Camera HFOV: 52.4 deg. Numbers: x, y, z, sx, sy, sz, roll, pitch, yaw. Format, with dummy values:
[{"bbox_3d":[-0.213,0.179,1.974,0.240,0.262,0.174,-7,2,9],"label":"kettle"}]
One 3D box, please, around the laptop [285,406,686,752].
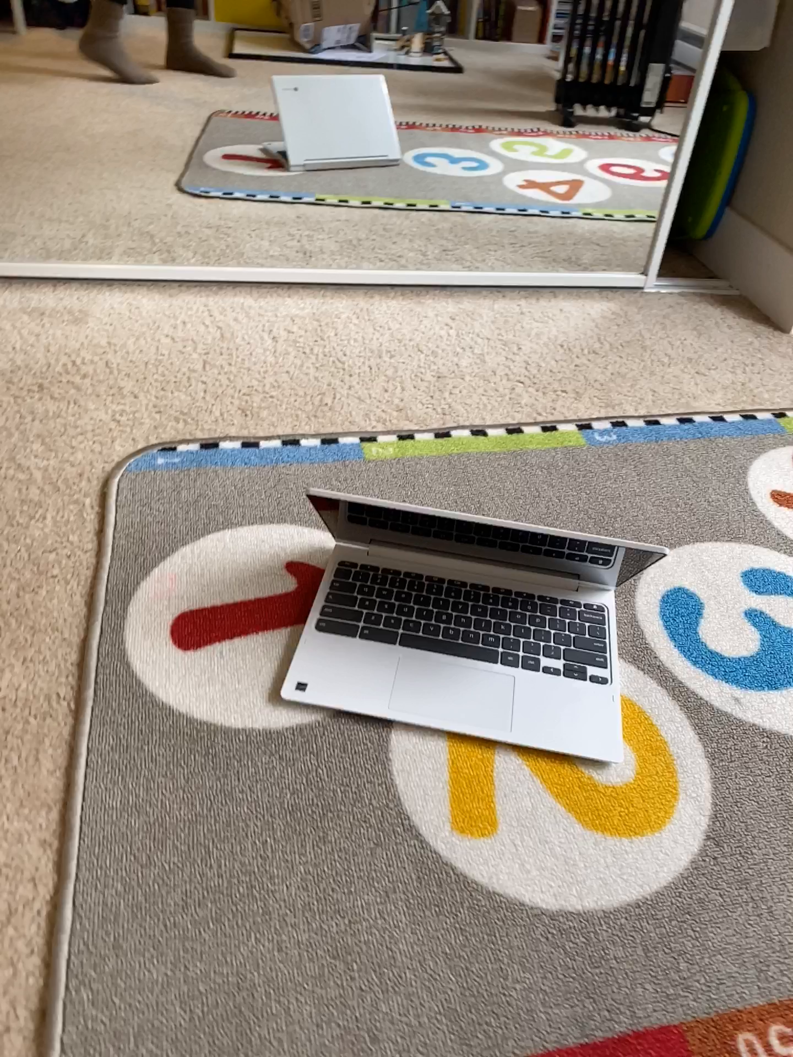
[{"bbox_3d":[0.073,0.035,0.722,0.293,0.164,0.218,10,38,4],"label":"laptop"}]
